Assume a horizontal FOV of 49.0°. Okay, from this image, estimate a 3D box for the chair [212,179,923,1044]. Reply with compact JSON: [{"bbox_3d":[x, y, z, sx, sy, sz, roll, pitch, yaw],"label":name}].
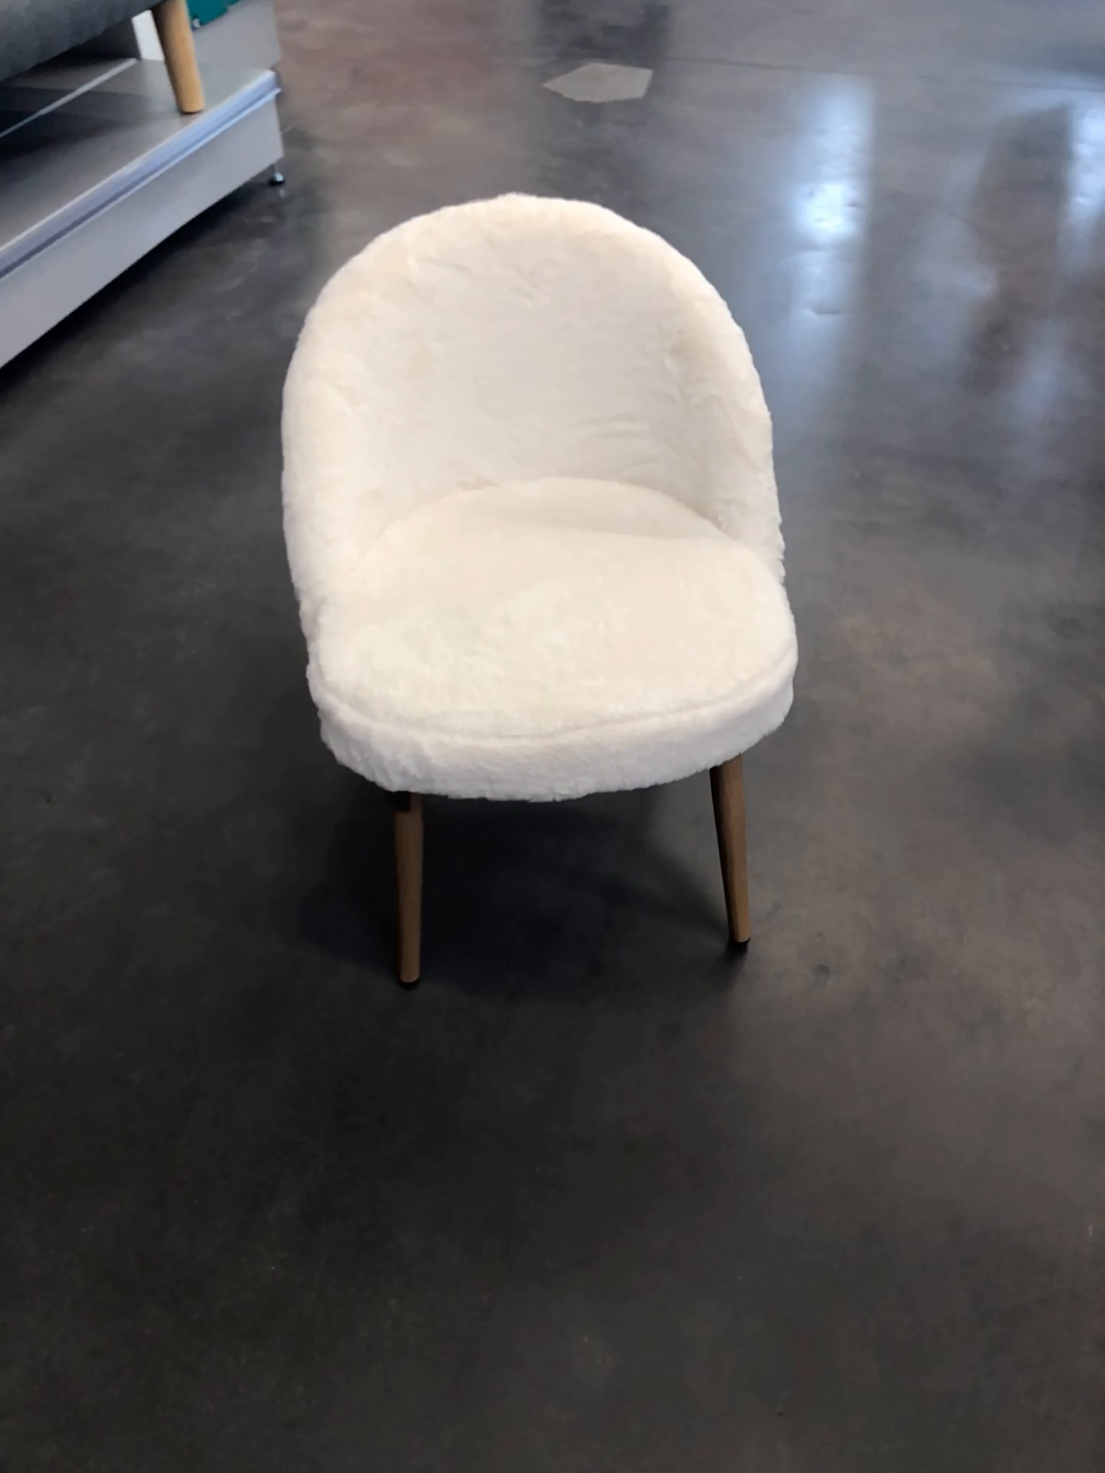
[{"bbox_3d":[-0.009,-0.109,1.048,0.410,0.537,0.473,-5,43,-4],"label":"chair"}]
